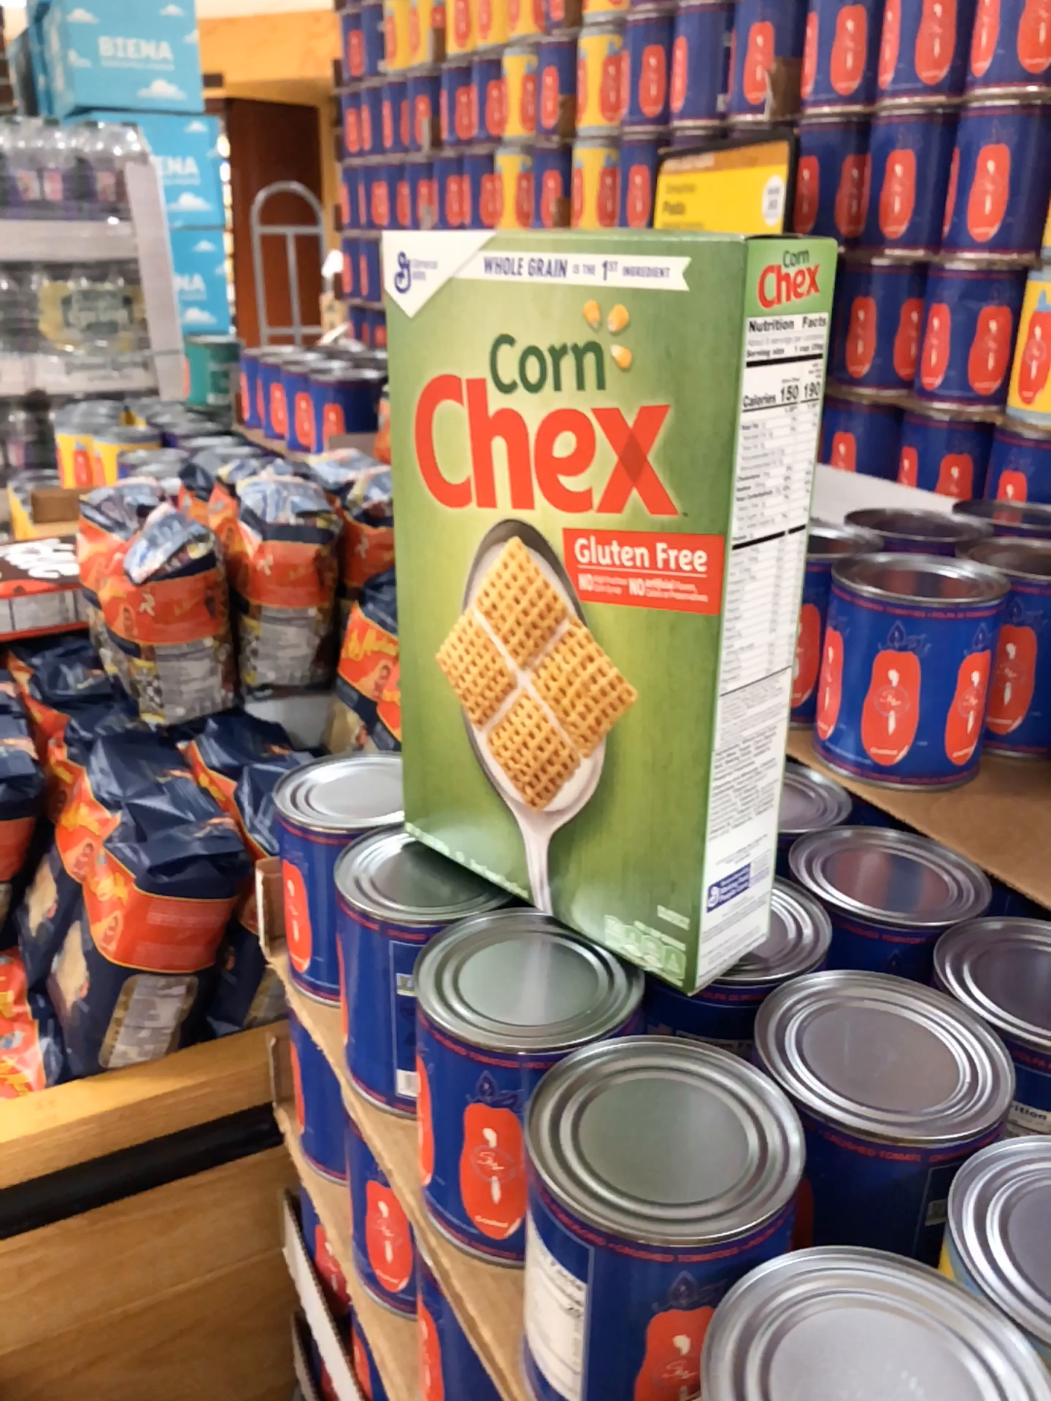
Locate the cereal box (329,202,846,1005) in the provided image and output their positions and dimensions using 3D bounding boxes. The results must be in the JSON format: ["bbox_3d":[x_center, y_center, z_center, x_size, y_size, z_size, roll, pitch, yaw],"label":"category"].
[{"bbox_3d":[0.010,-0.054,0.507,0.060,0.298,0.220,-19,29,-41],"label":"cereal box"}]
